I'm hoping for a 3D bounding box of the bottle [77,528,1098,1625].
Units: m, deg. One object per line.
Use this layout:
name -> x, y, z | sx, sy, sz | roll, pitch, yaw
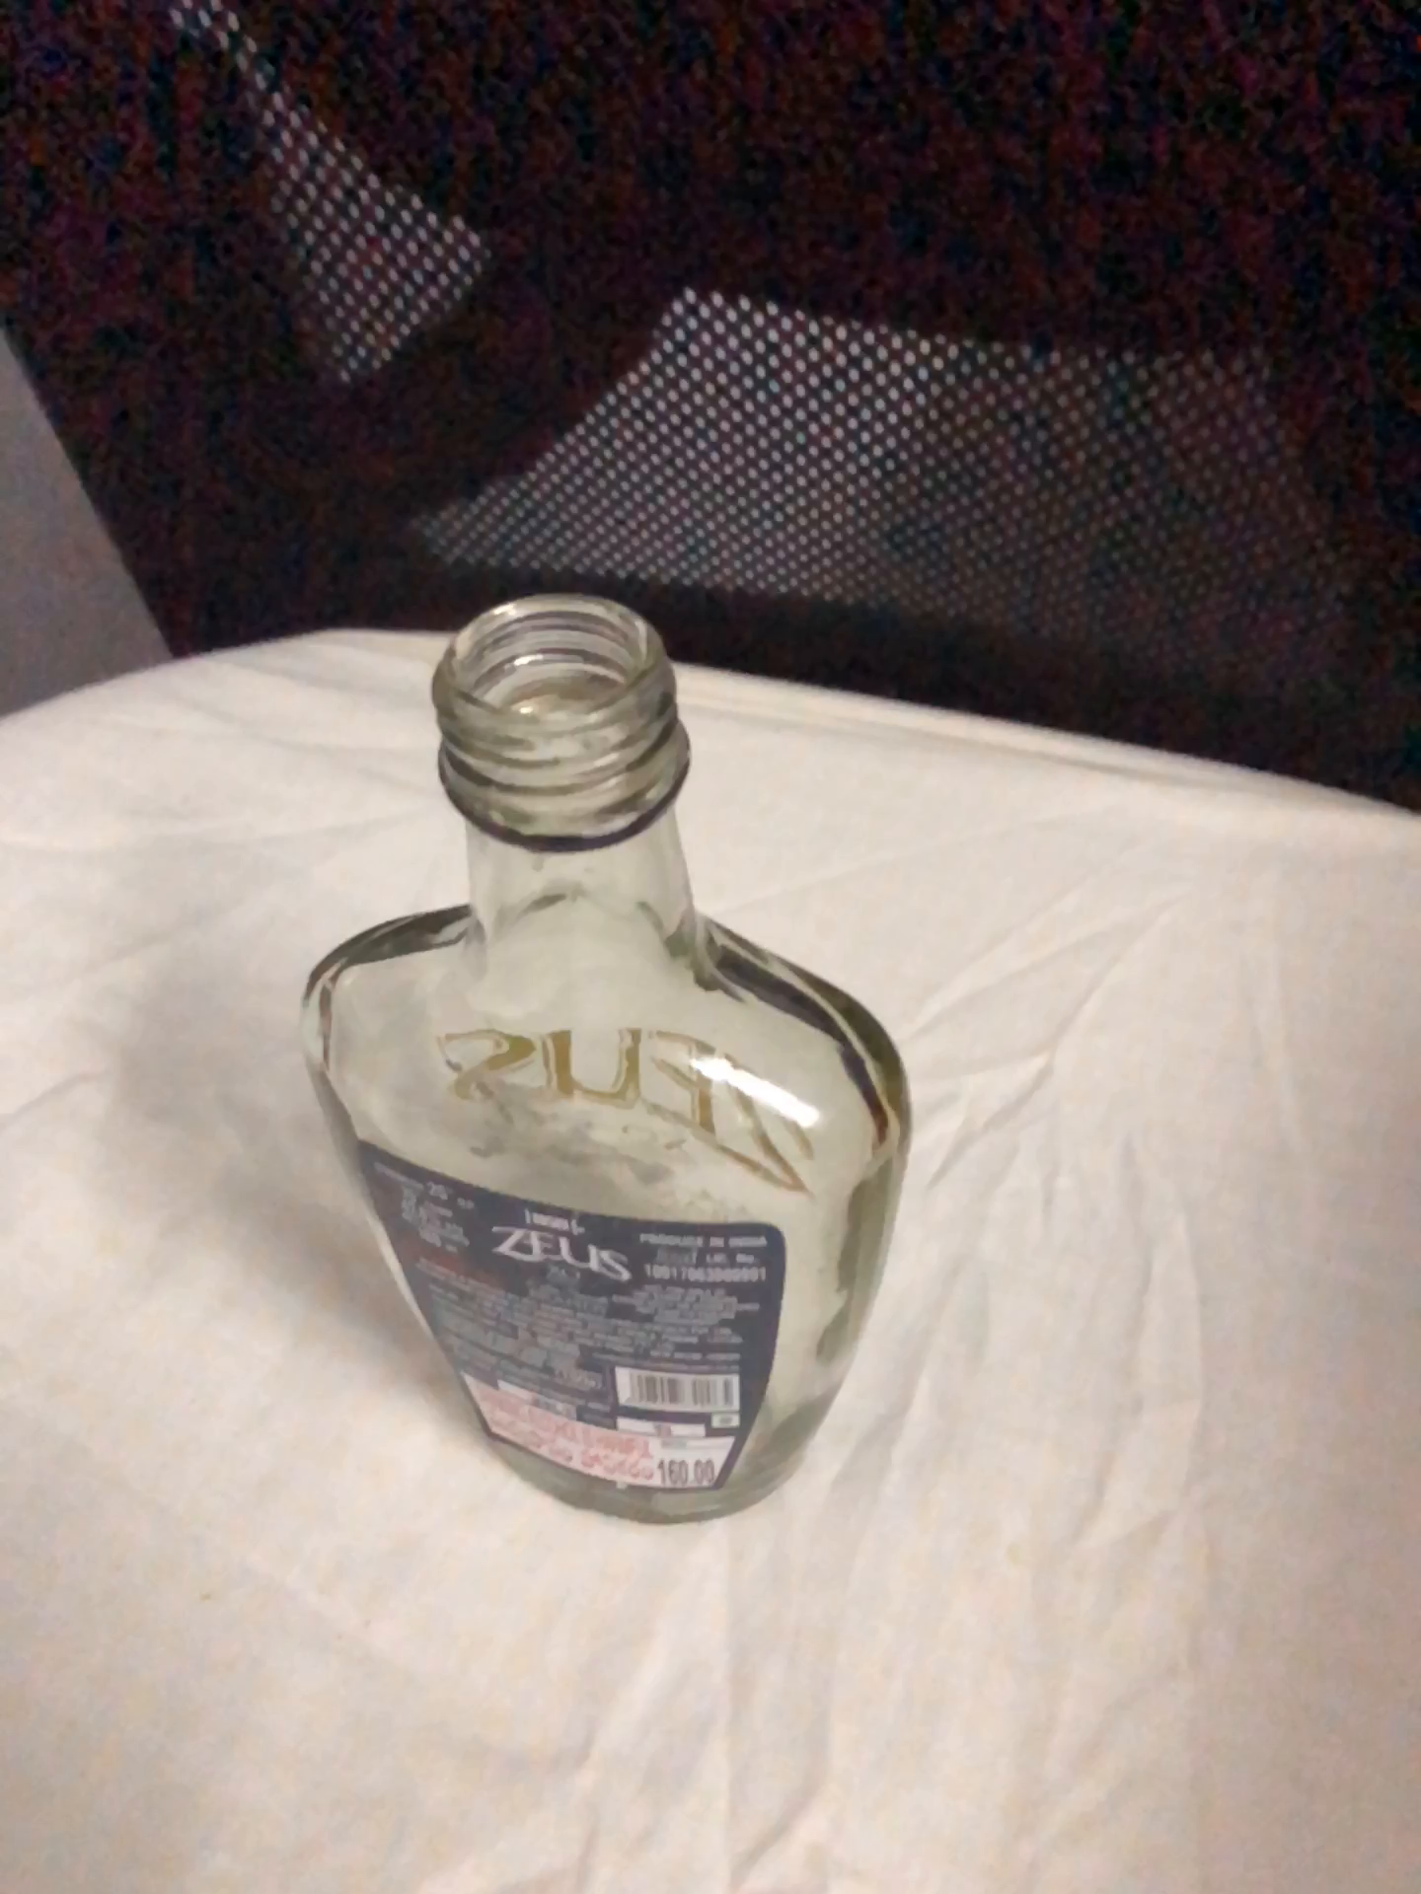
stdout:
bottle -> -0.008, 0.031, 0.218 | 0.090, 0.159, 0.050 | 11, 51, 10
